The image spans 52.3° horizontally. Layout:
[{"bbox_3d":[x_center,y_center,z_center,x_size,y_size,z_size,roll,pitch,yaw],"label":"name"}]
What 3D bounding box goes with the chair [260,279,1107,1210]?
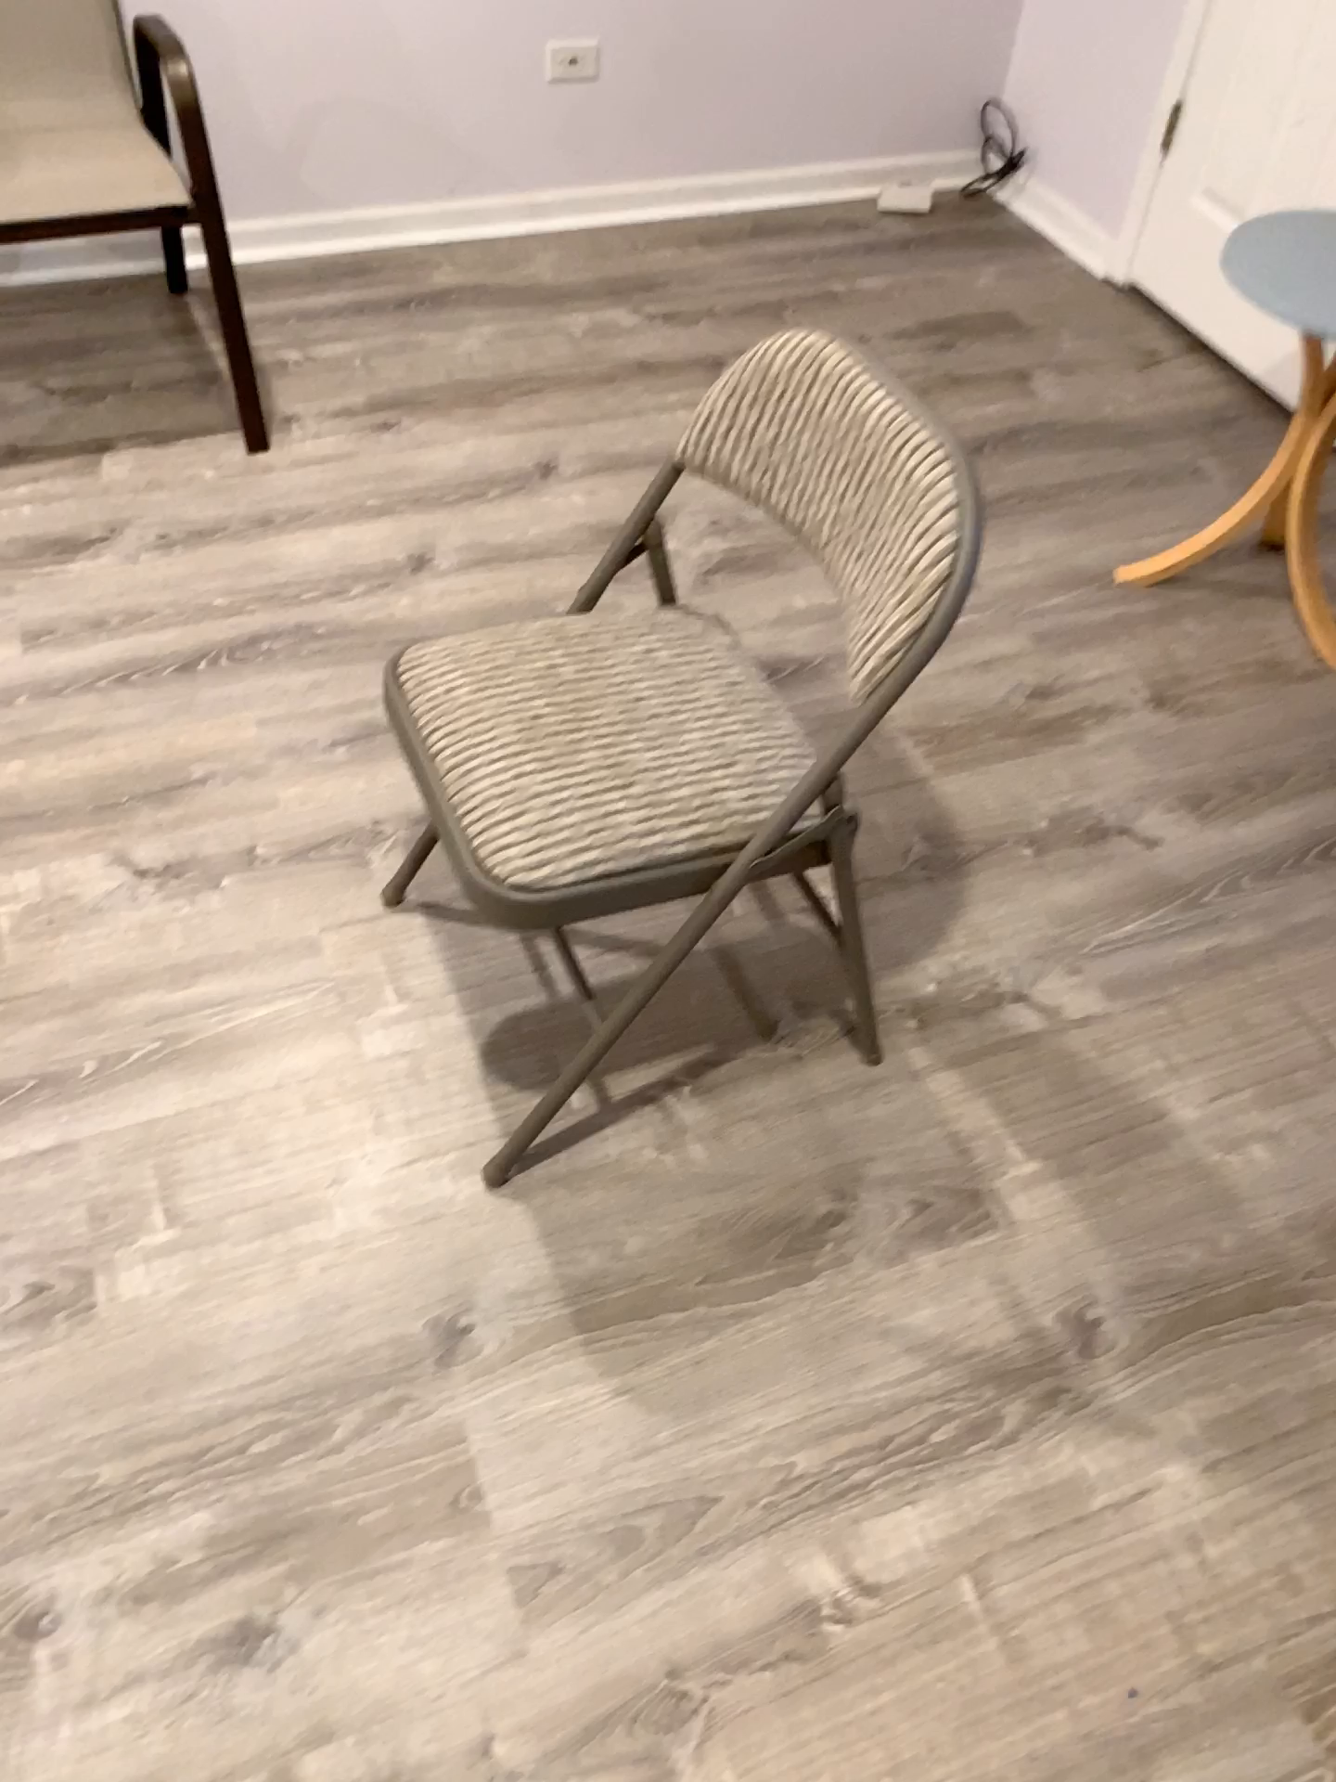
[{"bbox_3d":[-0.025,-0.150,1.434,0.585,0.708,0.505,-15,49,-17],"label":"chair"}]
